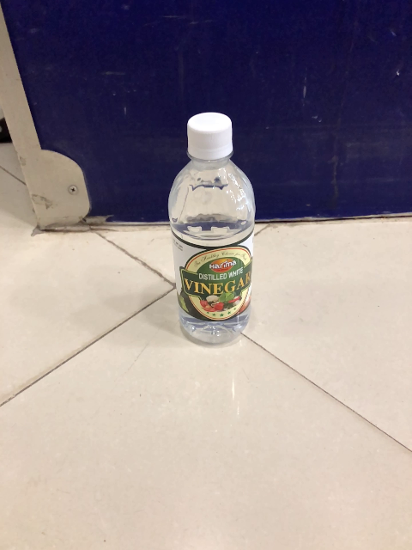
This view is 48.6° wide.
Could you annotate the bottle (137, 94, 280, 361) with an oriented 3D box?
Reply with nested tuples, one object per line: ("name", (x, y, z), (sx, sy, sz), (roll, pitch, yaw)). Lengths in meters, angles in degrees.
("bottle", (0.002, -0.028, 0.352), (0.080, 0.189, 0.070), (-8, 40, -7))
